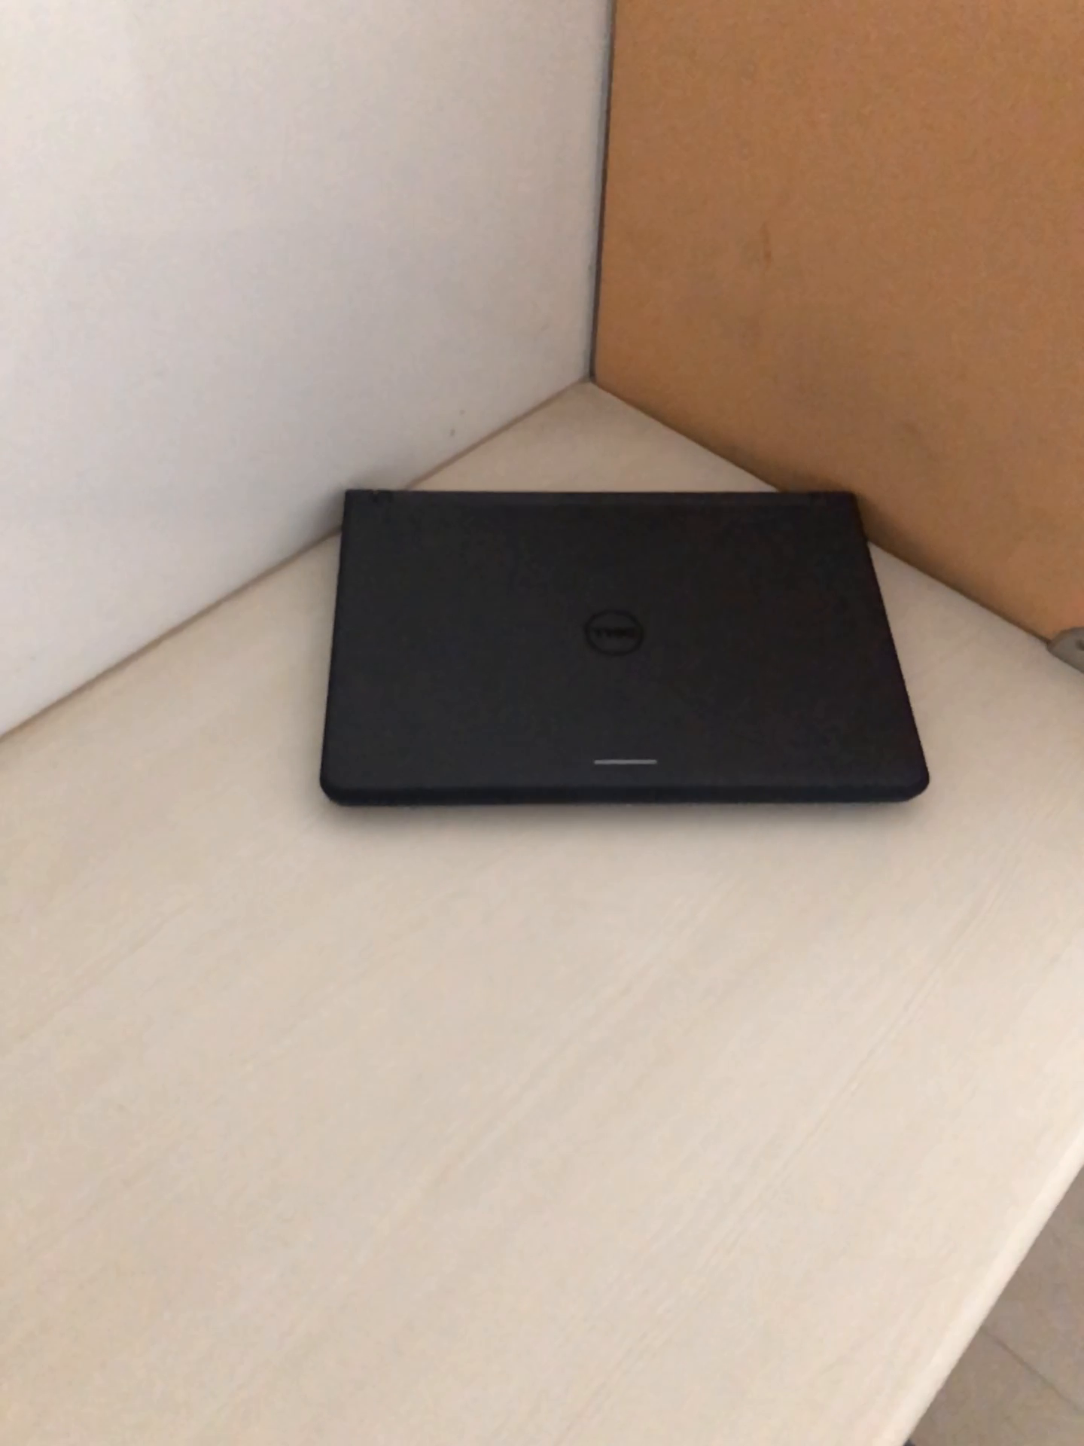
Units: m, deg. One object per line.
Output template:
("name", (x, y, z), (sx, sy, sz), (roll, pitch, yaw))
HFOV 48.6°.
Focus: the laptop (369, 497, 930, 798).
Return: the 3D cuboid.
("laptop", (0.050, -0.052, 0.694), (0.290, 0.007, 0.228), (-1, 51, -2))
